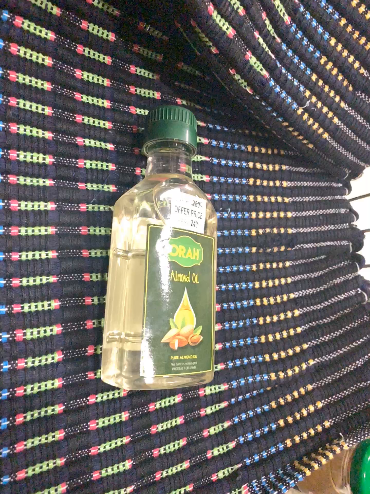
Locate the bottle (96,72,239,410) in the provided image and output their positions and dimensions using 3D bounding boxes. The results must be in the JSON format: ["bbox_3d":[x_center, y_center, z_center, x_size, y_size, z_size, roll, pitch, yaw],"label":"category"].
[{"bbox_3d":[-0.005,-0.003,0.196,0.060,0.030,0.150,11,74,-36],"label":"bottle"}]
